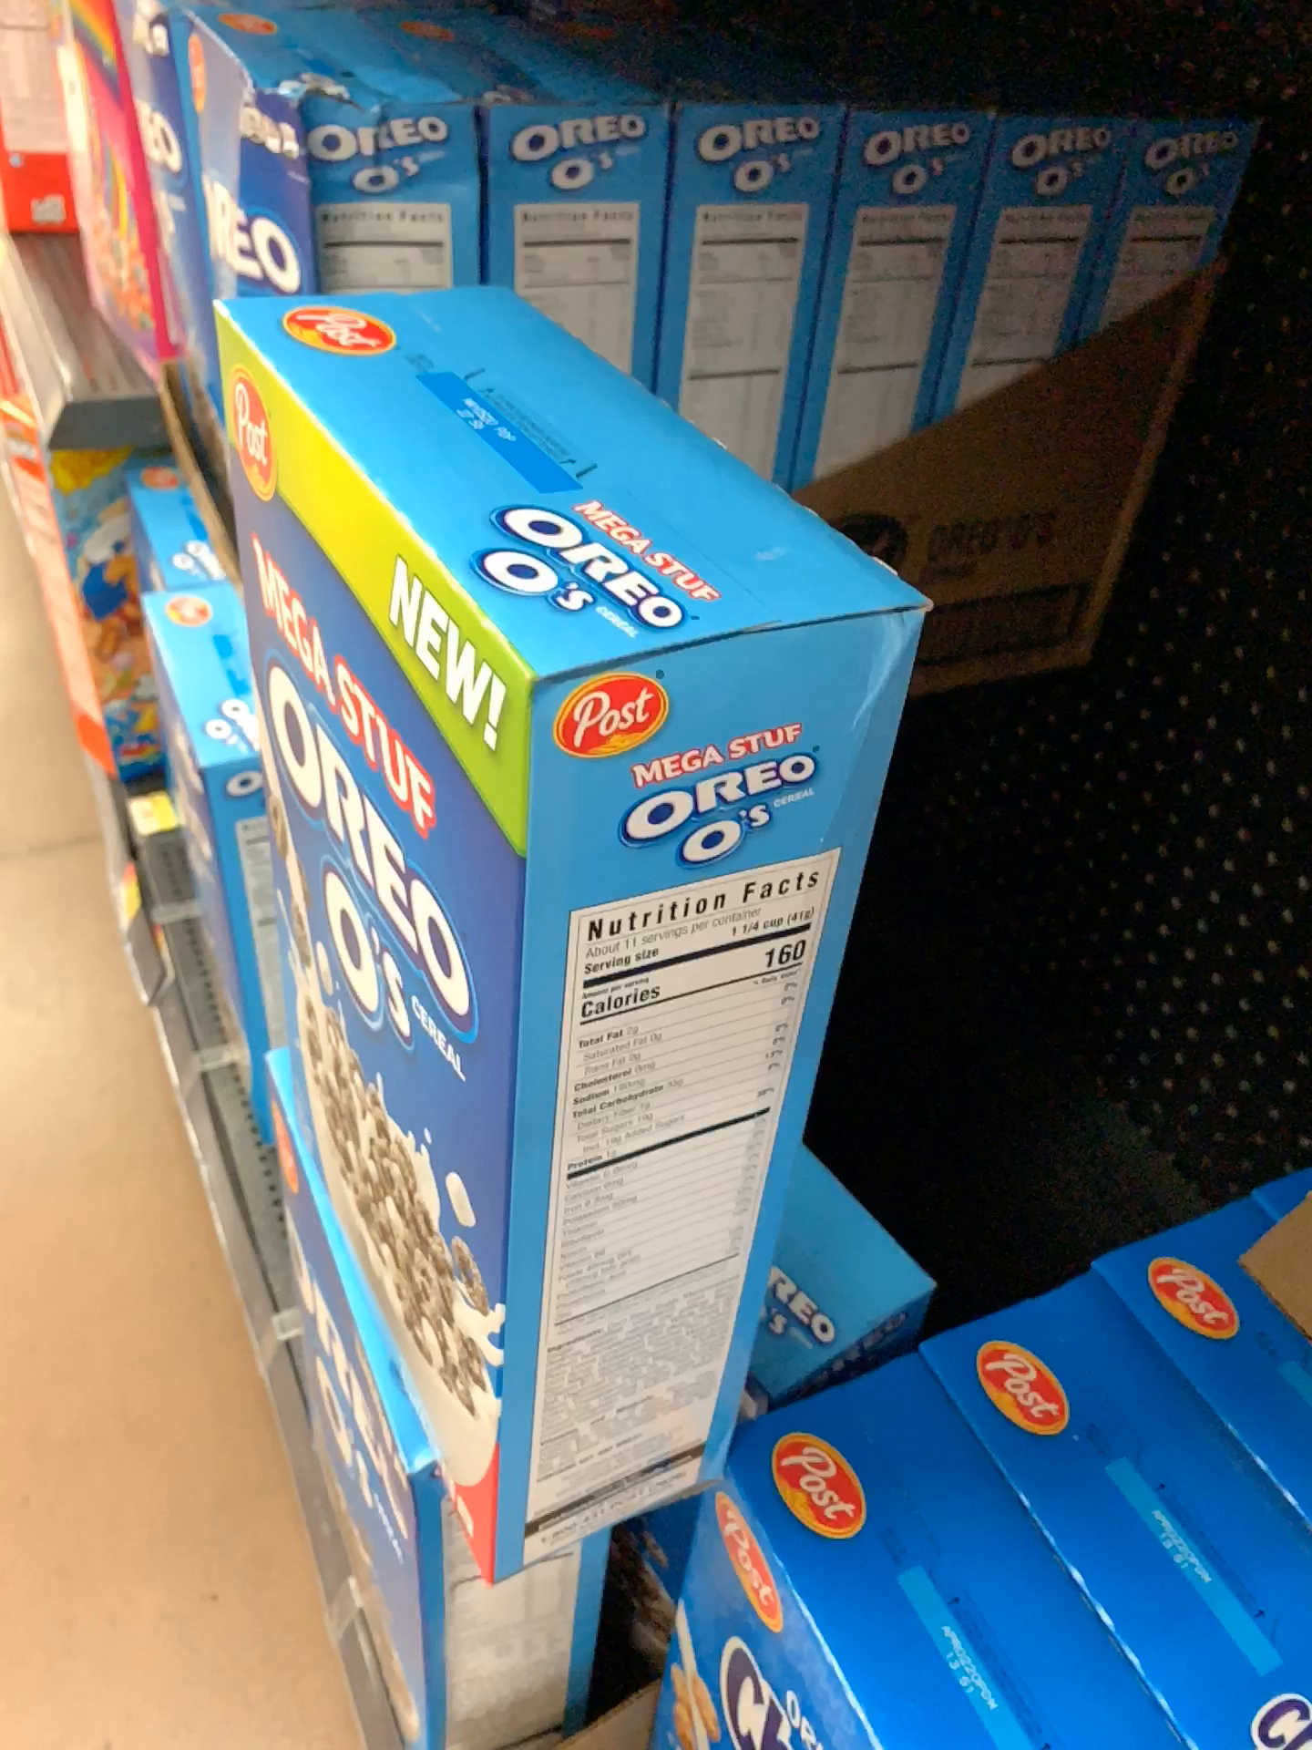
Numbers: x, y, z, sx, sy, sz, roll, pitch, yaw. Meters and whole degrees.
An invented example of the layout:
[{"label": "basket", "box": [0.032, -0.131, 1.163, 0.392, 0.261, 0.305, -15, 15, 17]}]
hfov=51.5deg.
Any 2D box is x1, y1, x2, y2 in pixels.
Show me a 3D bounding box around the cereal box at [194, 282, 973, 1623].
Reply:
[{"label": "cereal box", "box": [-0.046, 0.025, 0.374, 0.080, 0.298, 0.201, -14, 43, -27]}]
